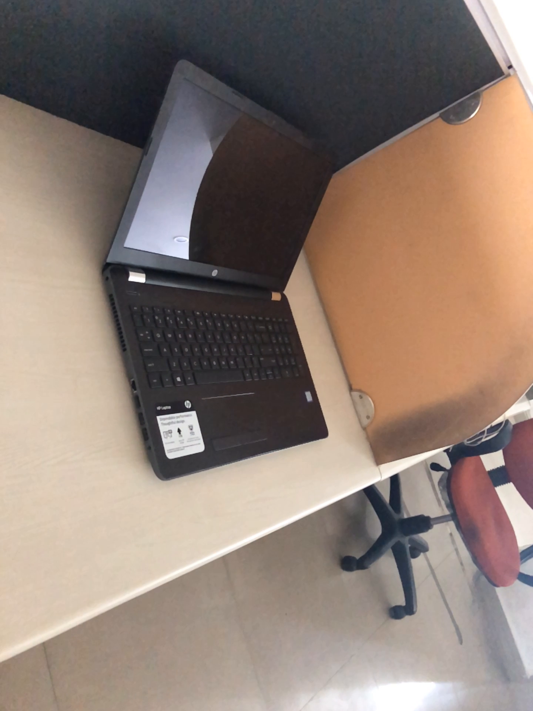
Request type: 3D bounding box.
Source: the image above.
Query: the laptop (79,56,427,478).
[{"bbox_3d":[0.005,-0.094,0.777,0.379,0.173,0.408,-1,71,-57],"label":"laptop"}]
